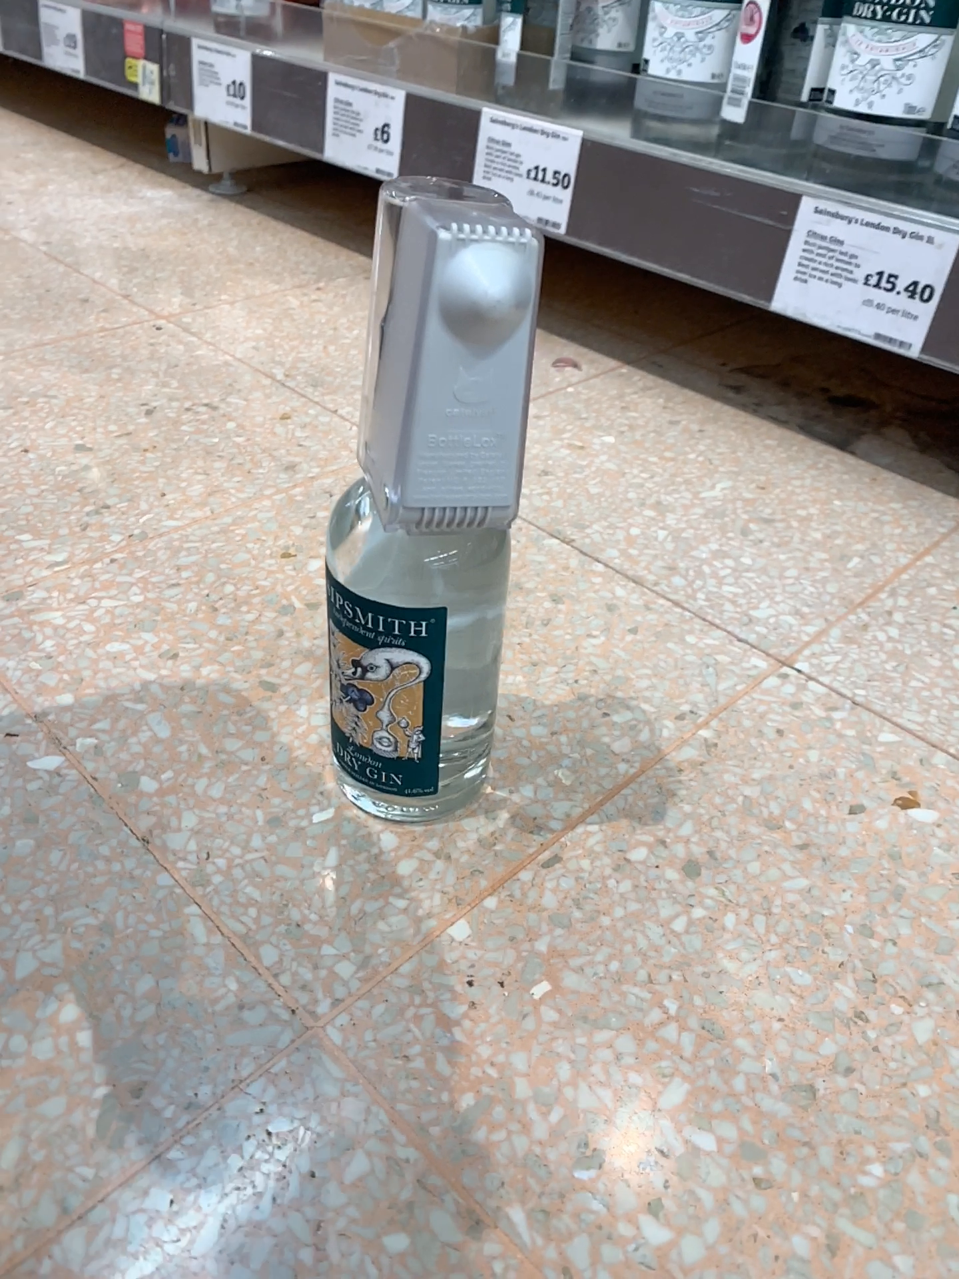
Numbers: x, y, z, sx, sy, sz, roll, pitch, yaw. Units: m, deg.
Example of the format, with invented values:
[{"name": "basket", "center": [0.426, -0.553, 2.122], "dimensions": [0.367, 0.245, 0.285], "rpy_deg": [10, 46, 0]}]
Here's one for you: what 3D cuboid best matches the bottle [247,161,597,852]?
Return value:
[{"name": "bottle", "center": [-0.024, -0.038, 0.351], "dimensions": [0.075, 0.222, 0.069], "rpy_deg": [3, 37, -2]}]
